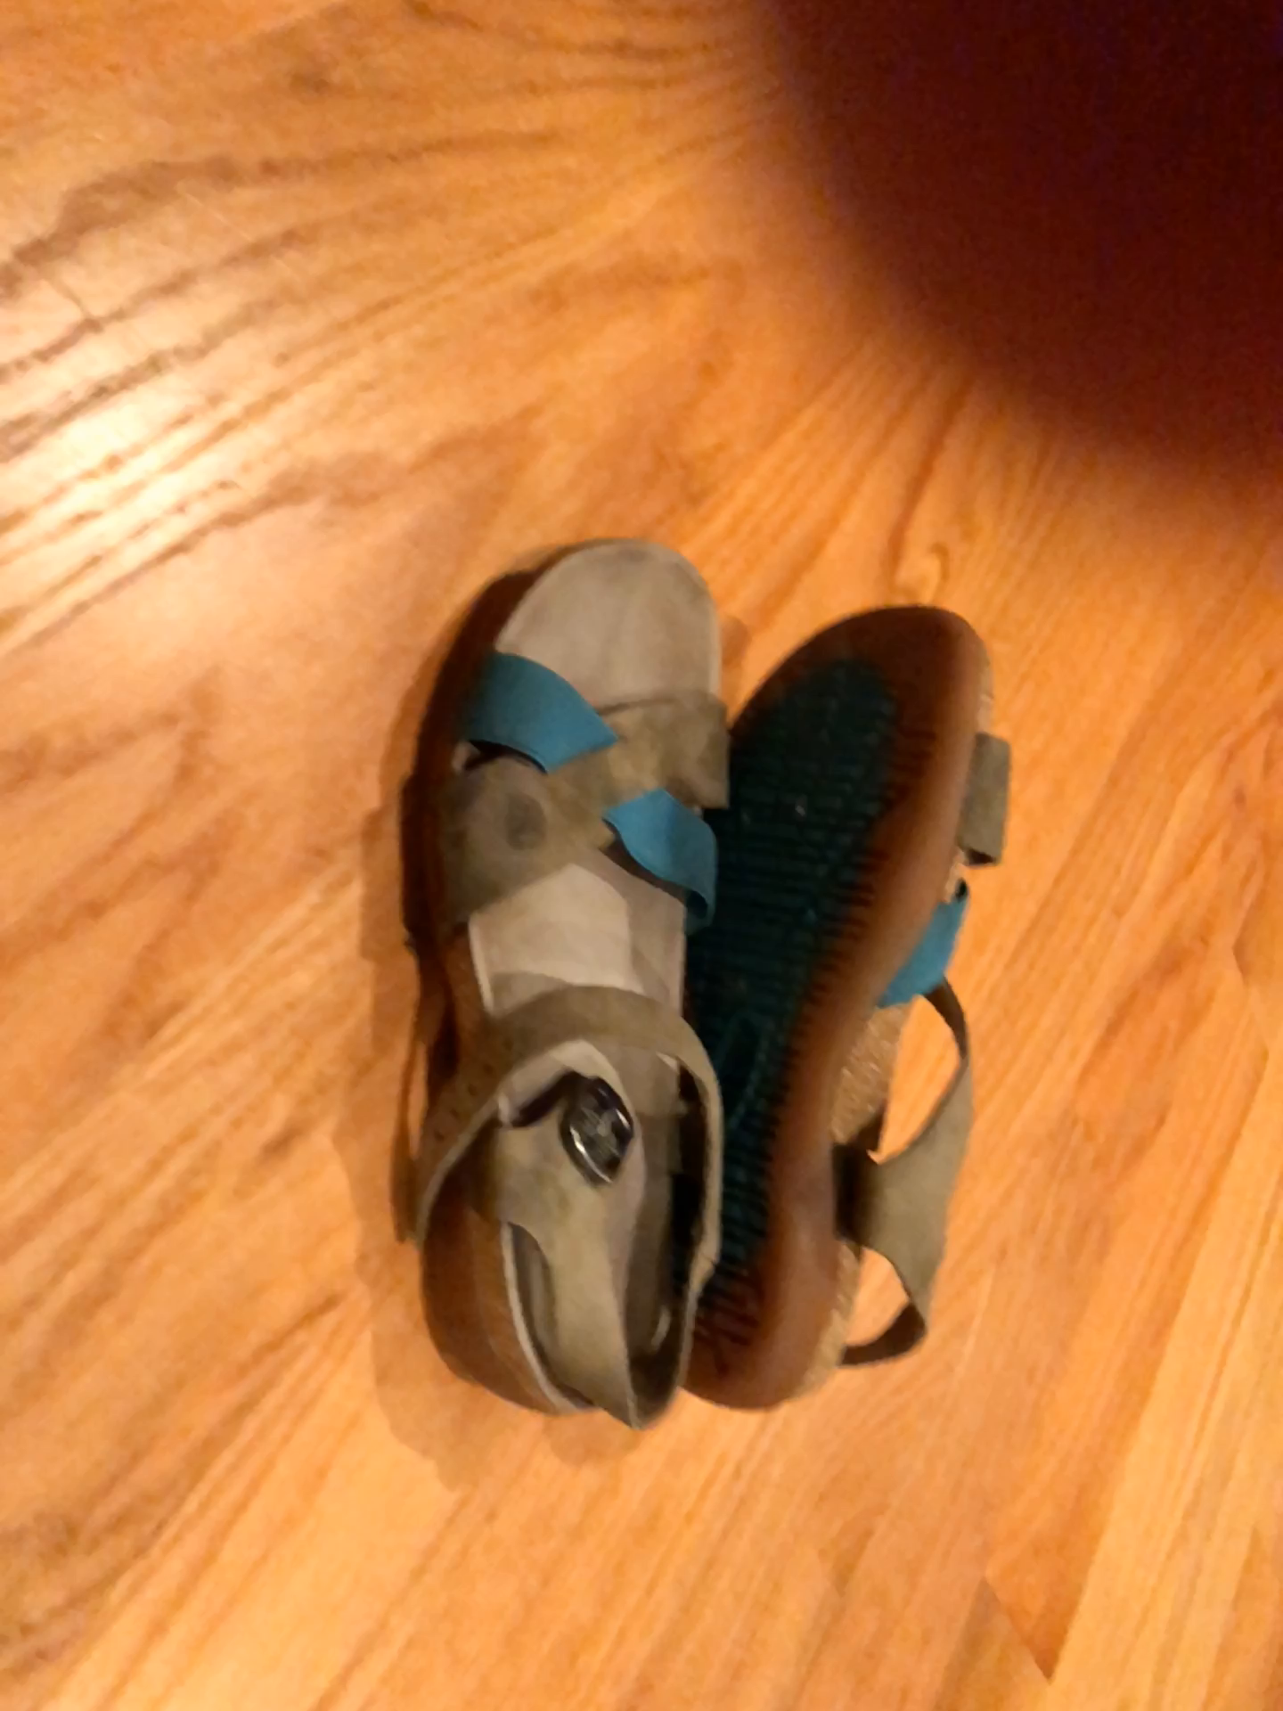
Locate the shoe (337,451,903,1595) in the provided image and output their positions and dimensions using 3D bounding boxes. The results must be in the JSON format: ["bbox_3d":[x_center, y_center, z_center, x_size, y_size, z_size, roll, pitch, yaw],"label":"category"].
[{"bbox_3d":[0.000,0.038,0.362,0.105,0.075,0.240,13,79,-46],"label":"shoe"}]

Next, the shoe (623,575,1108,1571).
[{"bbox_3d":[0.064,0.053,0.400,0.065,0.104,0.238,13,79,-46],"label":"shoe"}]
